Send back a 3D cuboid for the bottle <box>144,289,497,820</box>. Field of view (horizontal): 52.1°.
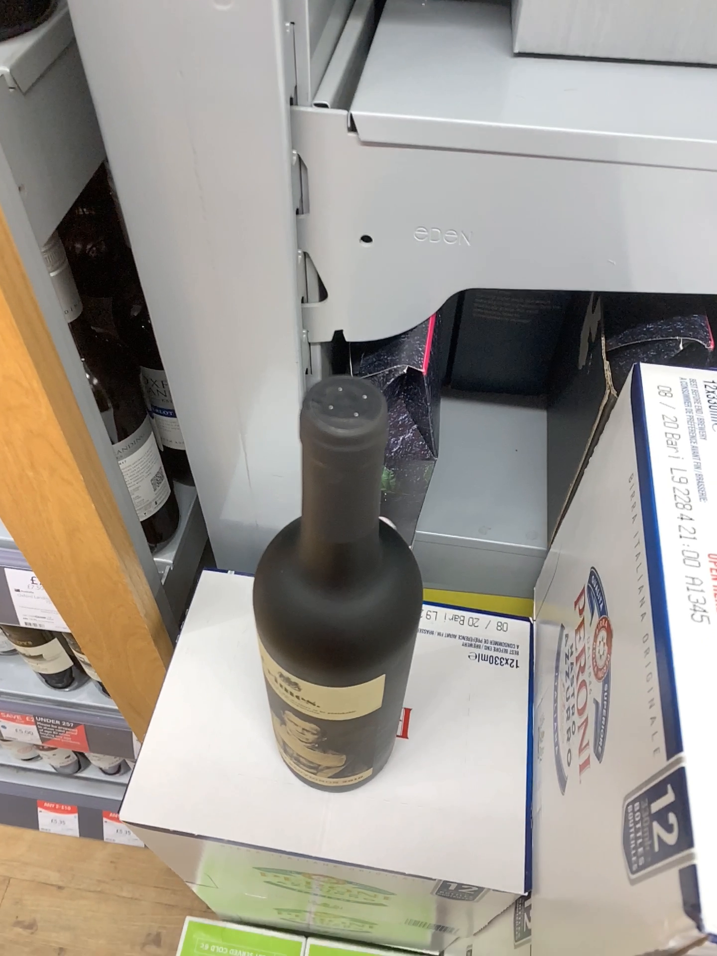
[{"bbox_3d":[-0.012,0.064,0.334,0.078,0.288,0.075,1,52,-1],"label":"bottle"}]
